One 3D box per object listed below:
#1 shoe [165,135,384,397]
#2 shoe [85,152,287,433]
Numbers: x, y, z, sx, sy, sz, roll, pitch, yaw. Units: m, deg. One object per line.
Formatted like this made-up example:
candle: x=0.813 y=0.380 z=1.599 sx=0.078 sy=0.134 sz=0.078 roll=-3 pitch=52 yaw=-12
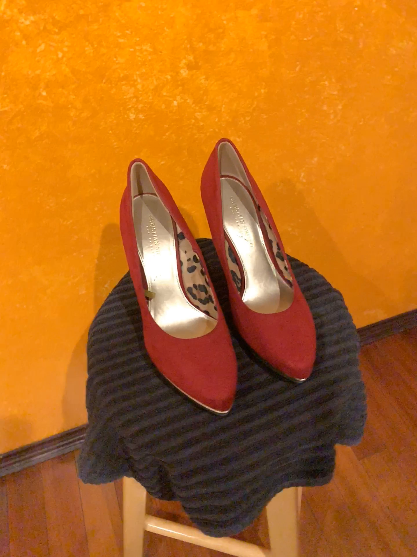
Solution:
shoe: x=0.042 y=-0.035 z=0.450 sx=0.093 sy=0.128 sz=0.271 roll=-14 pitch=41 yaw=-16
shoe: x=-0.043 y=-0.013 z=0.444 sx=0.100 sy=0.119 sz=0.291 roll=-15 pitch=41 yaw=-17
